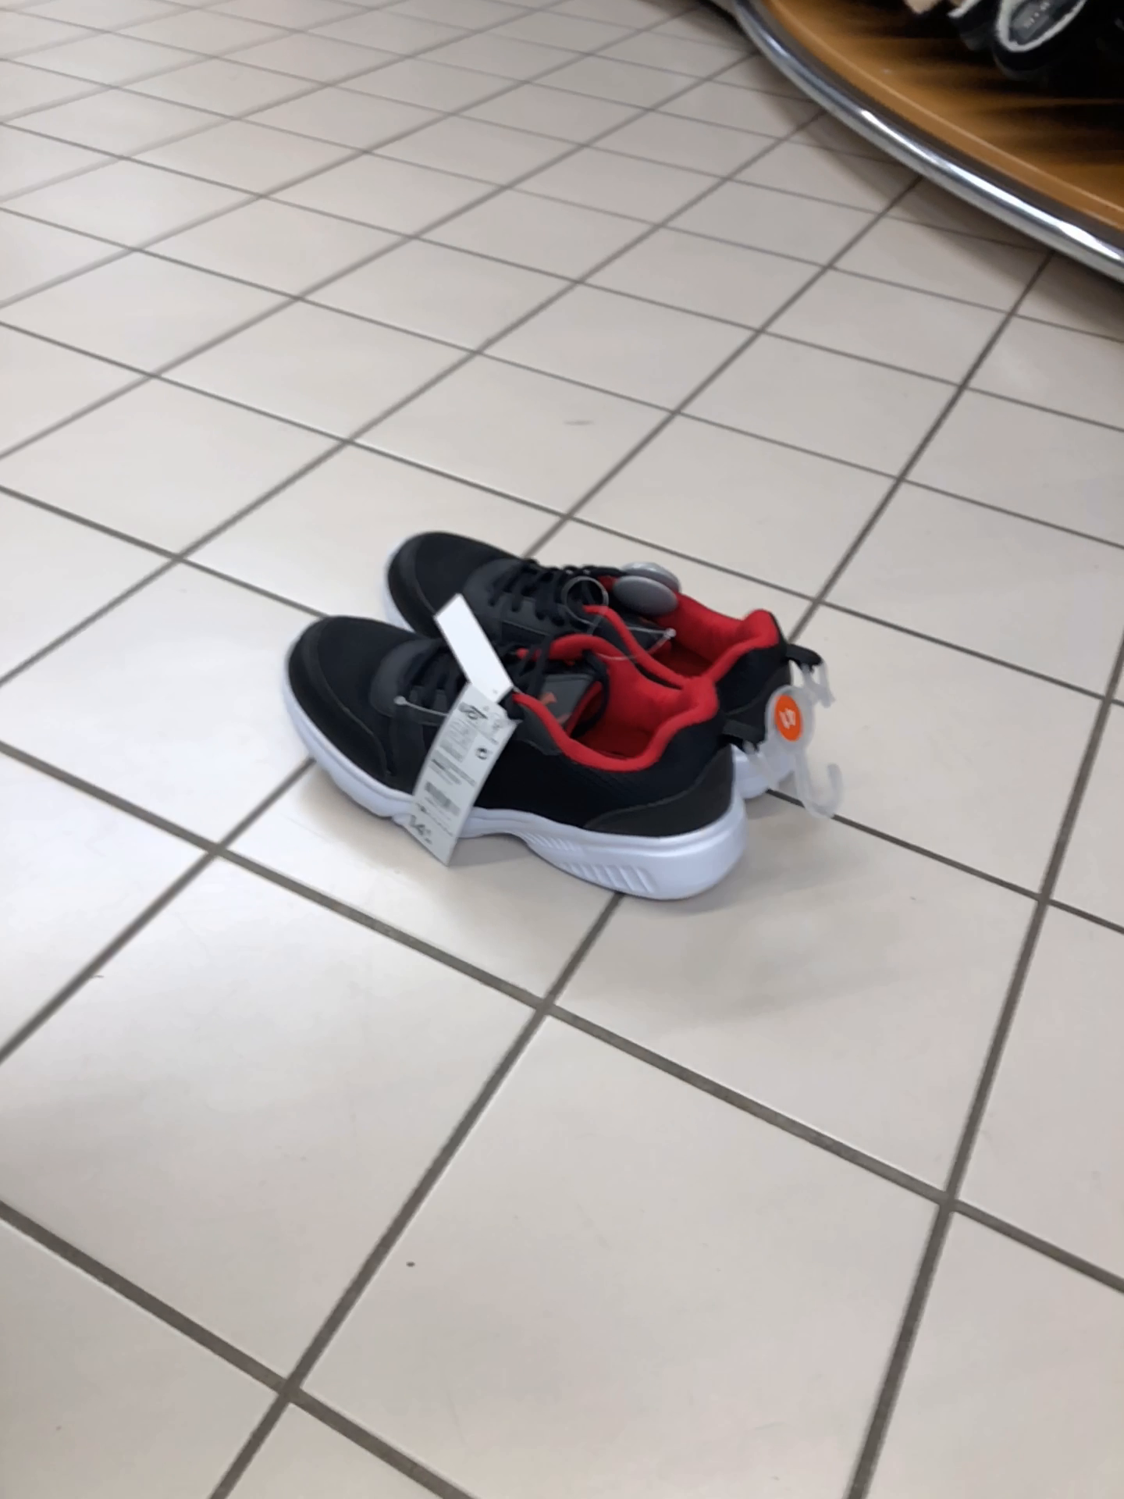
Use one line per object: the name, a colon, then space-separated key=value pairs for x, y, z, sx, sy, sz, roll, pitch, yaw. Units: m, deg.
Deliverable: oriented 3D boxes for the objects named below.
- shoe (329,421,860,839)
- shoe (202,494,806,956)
shoe: x=0.012 y=-0.077 z=0.738 sx=0.284 sy=0.129 sz=0.101 roll=22 pitch=45 yaw=19
shoe: x=-0.035 y=-0.020 z=0.673 sx=0.294 sy=0.129 sz=0.101 roll=20 pitch=44 yaw=17
